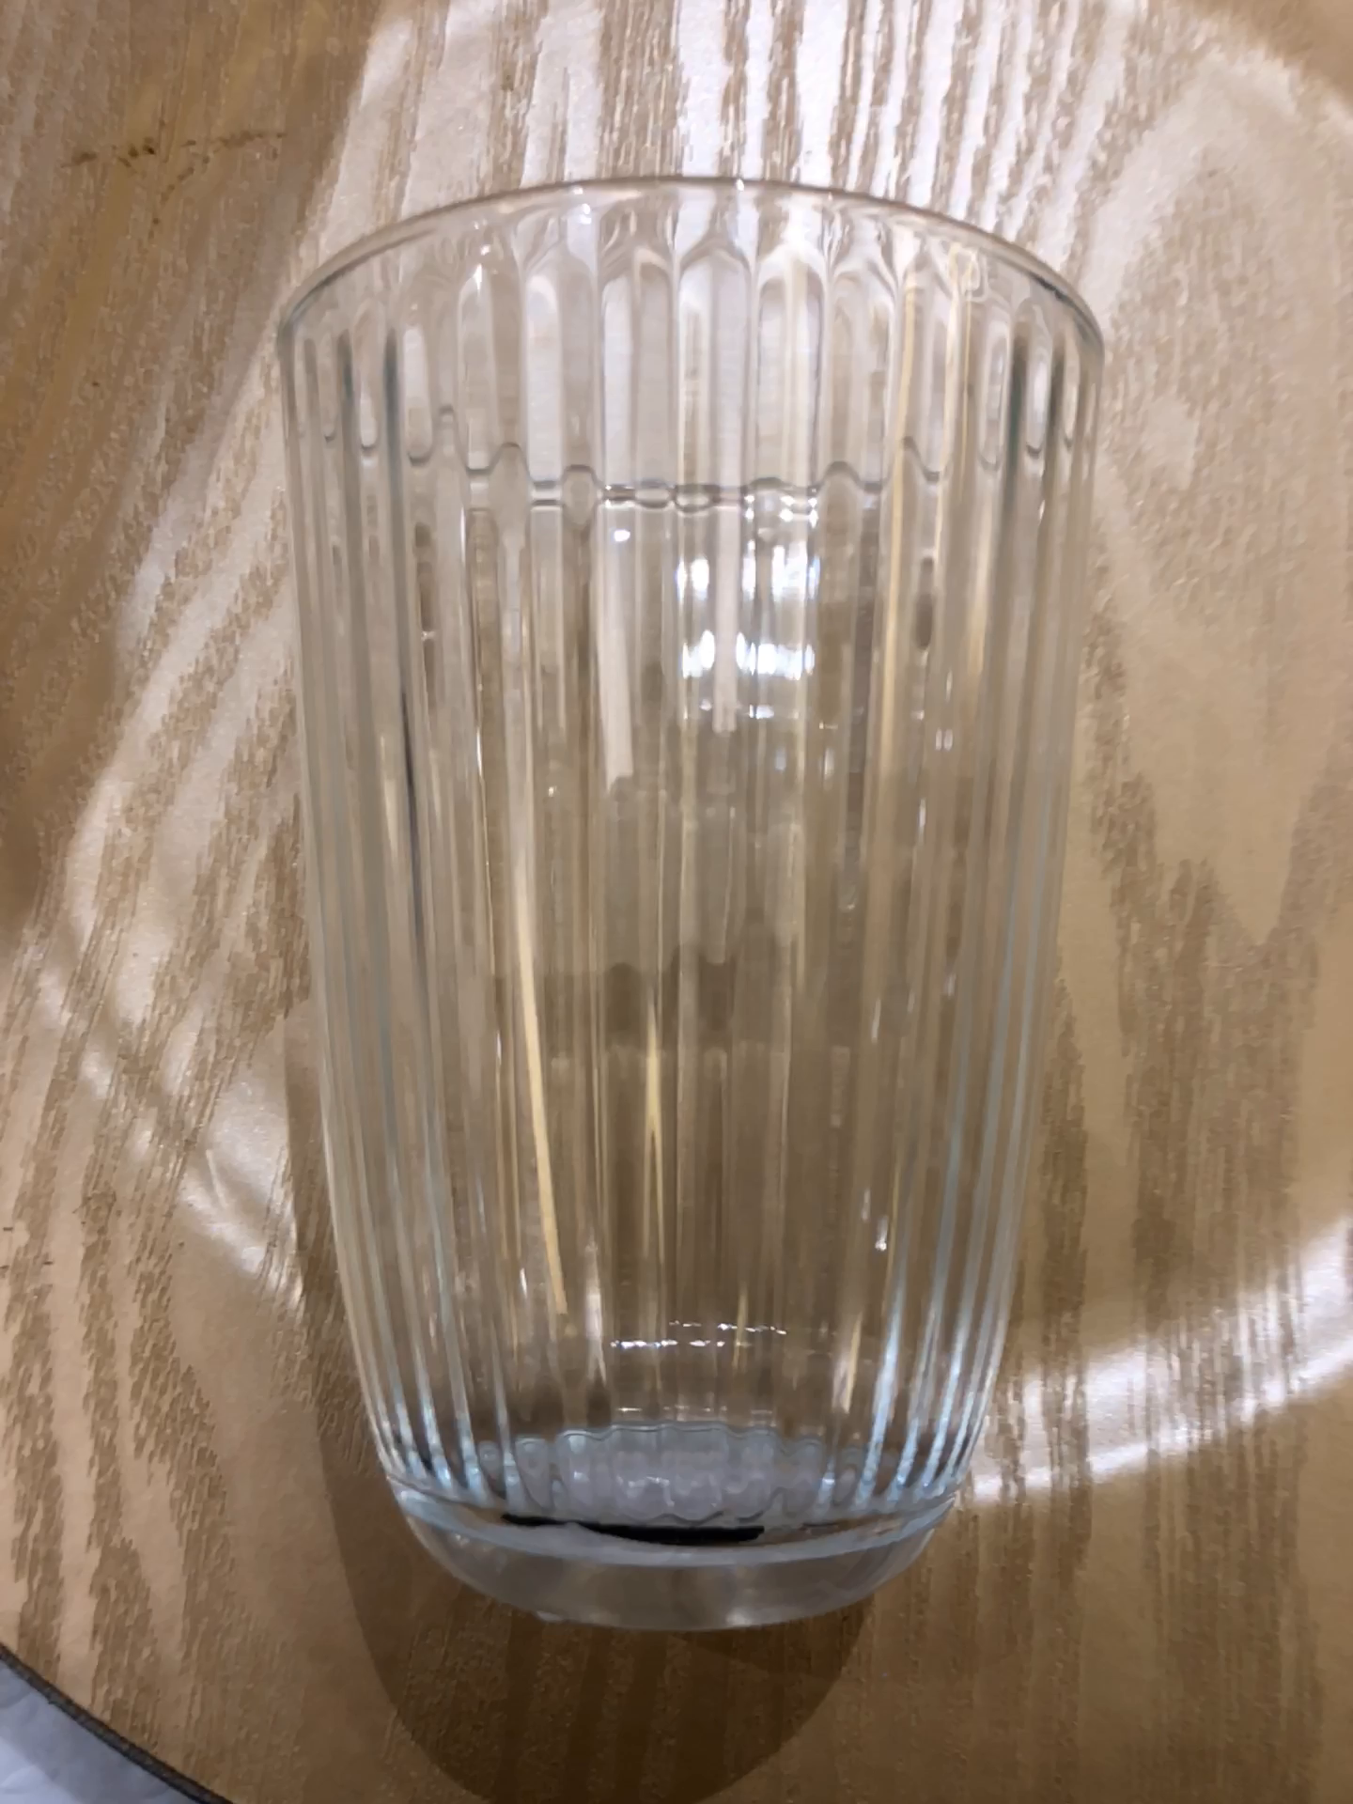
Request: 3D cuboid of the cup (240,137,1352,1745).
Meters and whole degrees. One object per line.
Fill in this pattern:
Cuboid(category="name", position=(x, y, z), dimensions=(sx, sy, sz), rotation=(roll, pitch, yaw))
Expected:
Cuboid(category="cup", position=(0.009, 0.003, 0.159), dimensions=(0.090, 0.070, 0.130), rotation=(-1, 81, -4))
